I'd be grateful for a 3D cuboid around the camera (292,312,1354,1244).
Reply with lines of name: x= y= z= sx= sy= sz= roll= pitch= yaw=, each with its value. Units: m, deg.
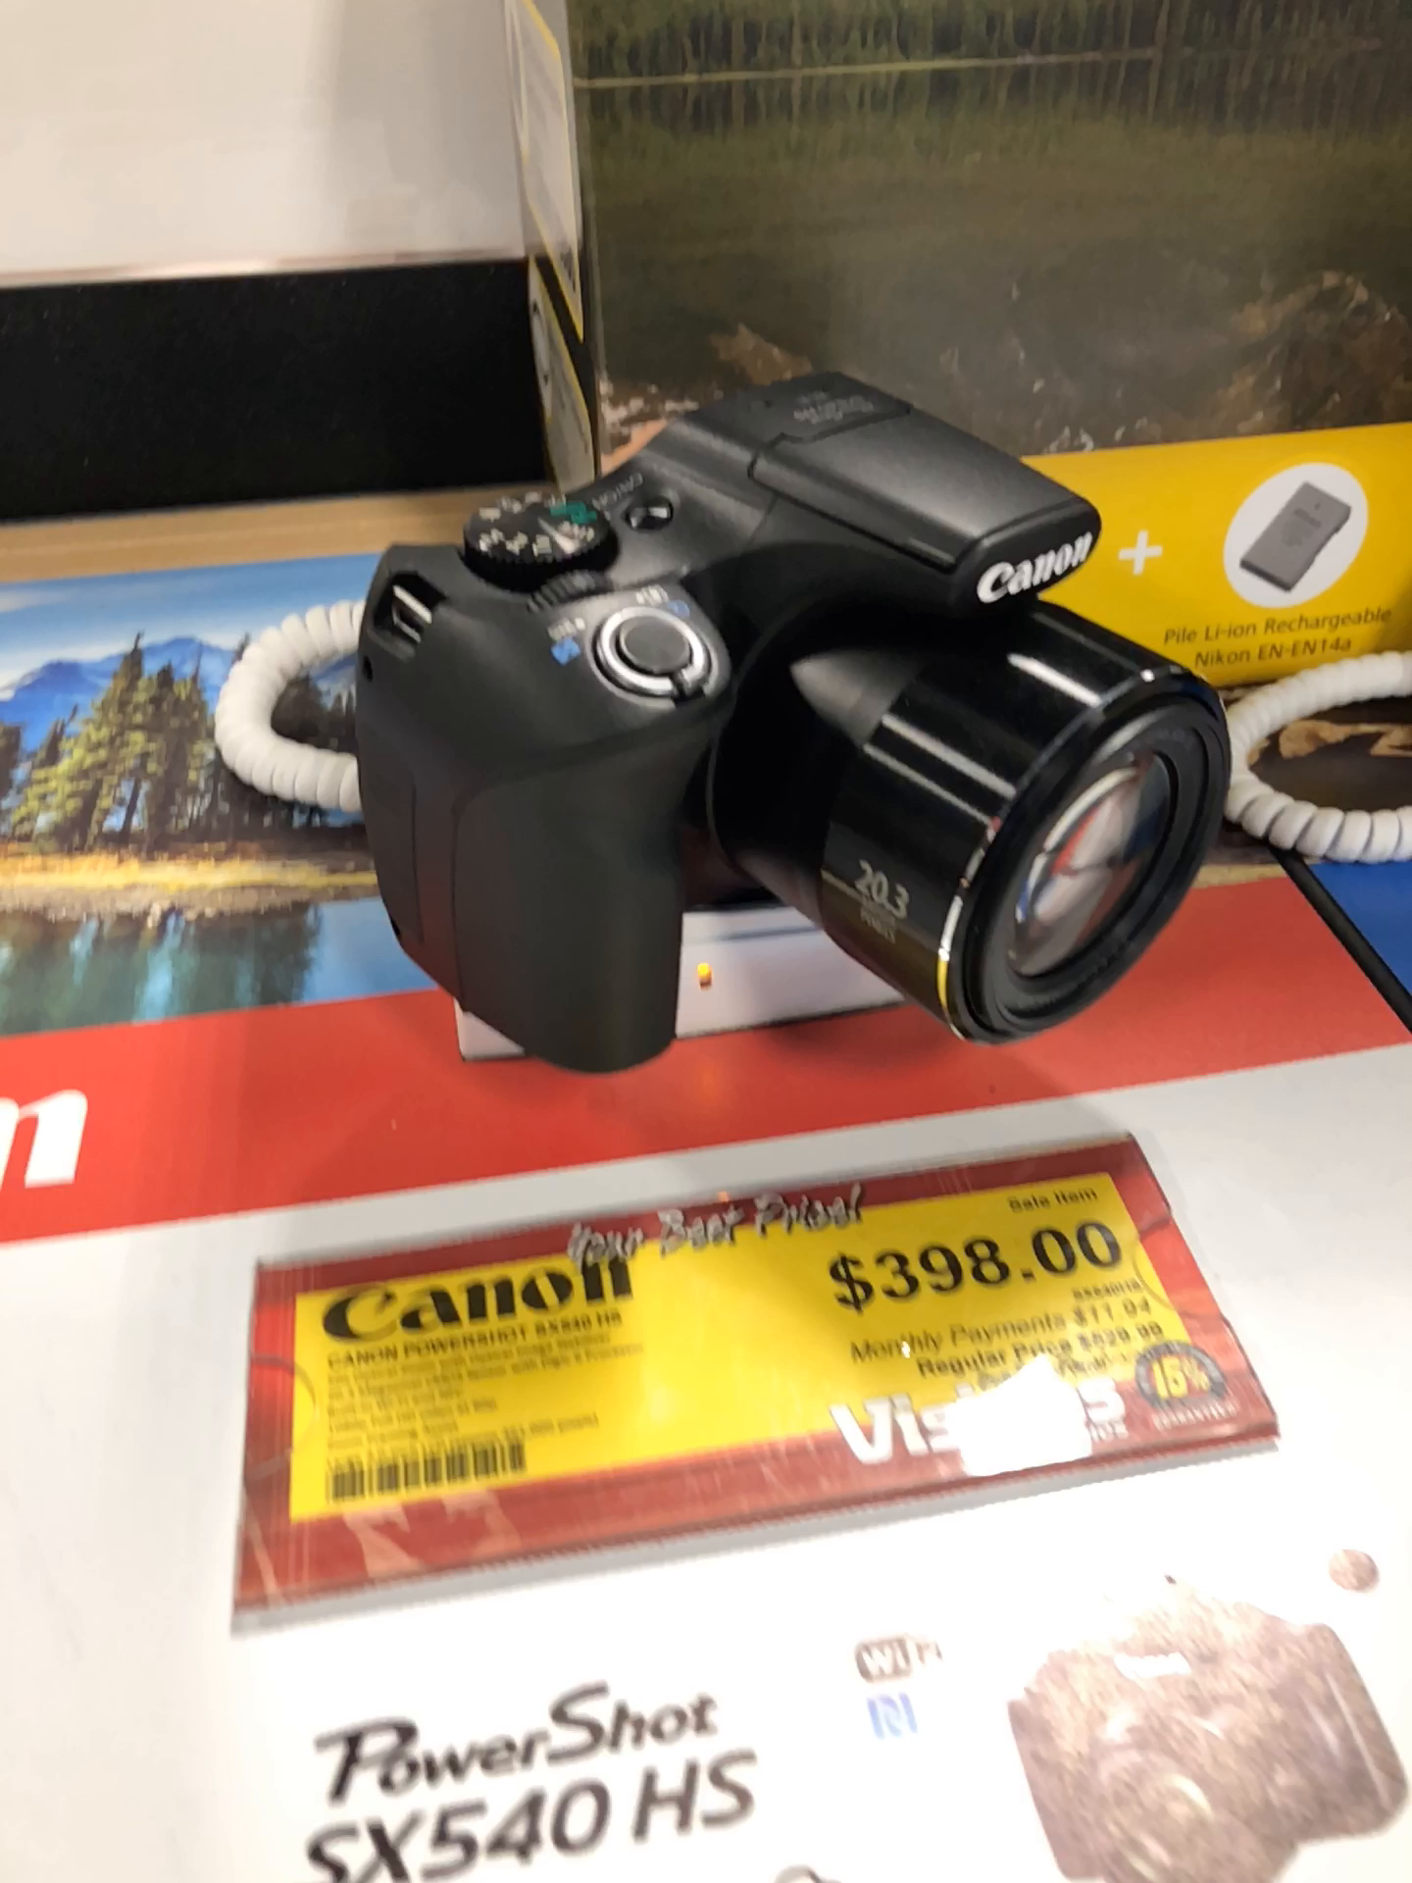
camera: x=0.017 y=-0.035 z=0.245 sx=0.120 sy=0.079 sz=0.090 roll=-26 pitch=44 yaw=-27
